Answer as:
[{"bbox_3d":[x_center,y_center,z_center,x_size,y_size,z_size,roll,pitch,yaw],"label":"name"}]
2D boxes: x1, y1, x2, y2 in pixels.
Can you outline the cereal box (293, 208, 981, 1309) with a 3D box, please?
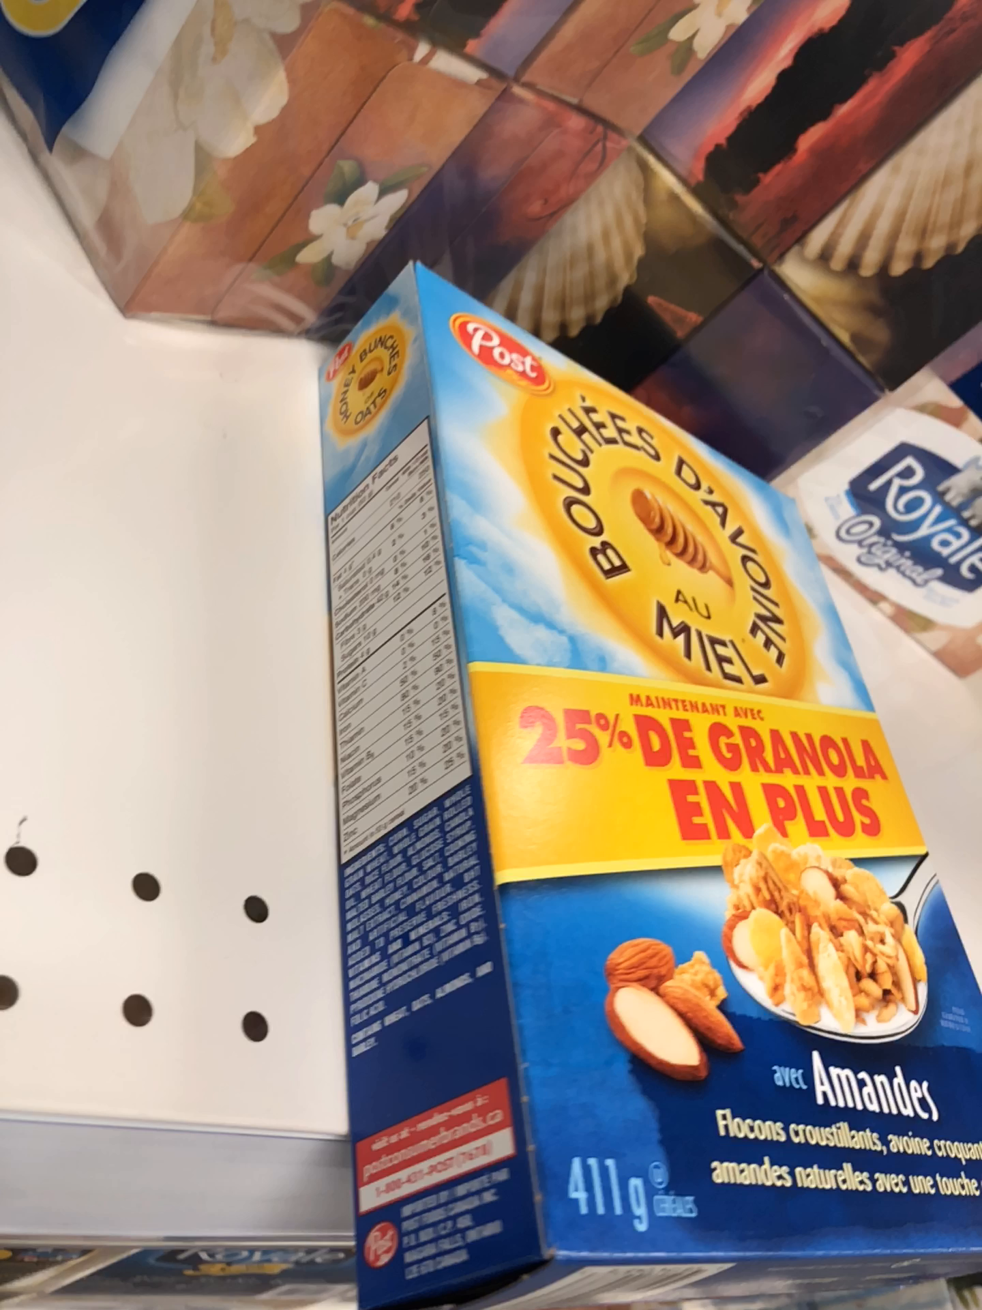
[{"bbox_3d":[0.049,0.026,0.313,0.211,0.050,0.270,22,45,-36],"label":"cereal box"}]
